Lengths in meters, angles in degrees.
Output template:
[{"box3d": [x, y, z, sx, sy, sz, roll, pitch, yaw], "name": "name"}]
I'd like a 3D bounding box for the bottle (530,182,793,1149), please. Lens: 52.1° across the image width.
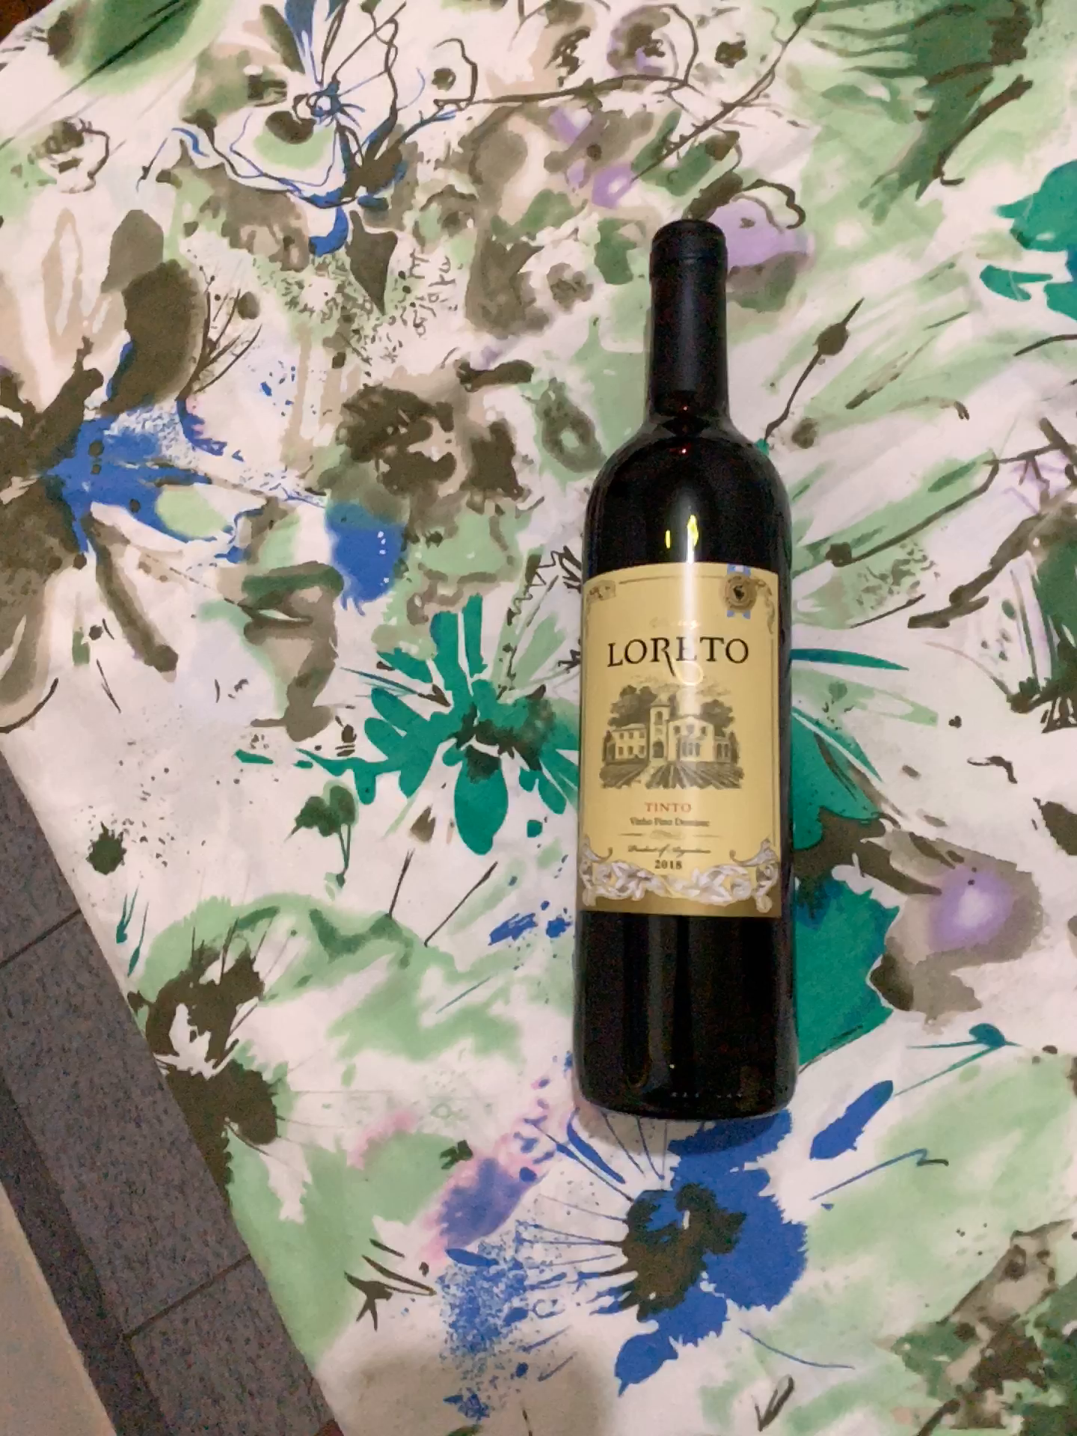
[{"box3d": [0.045, -0.022, 0.380, 0.080, 0.050, 0.310, 0, 83, 11], "name": "bottle"}]
